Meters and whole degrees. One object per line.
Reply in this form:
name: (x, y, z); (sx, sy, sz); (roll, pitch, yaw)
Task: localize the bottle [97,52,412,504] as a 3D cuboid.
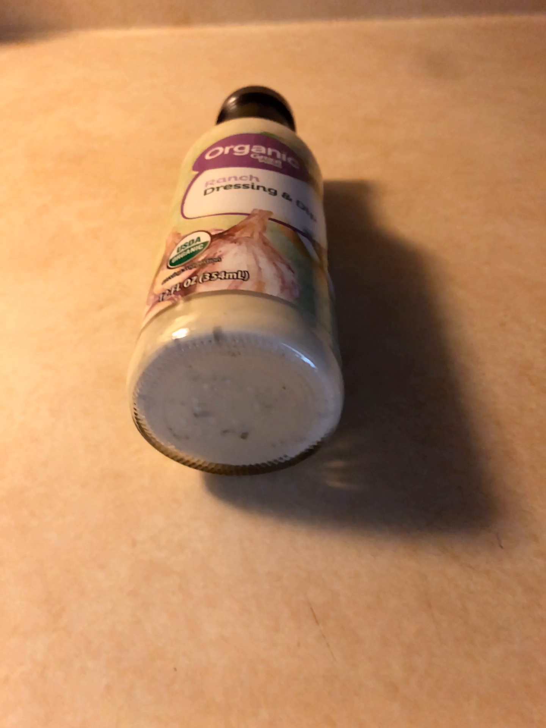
bottle: (-0.008, -0.059, 0.245); (0.070, 0.060, 0.231); (5, 39, -5)
